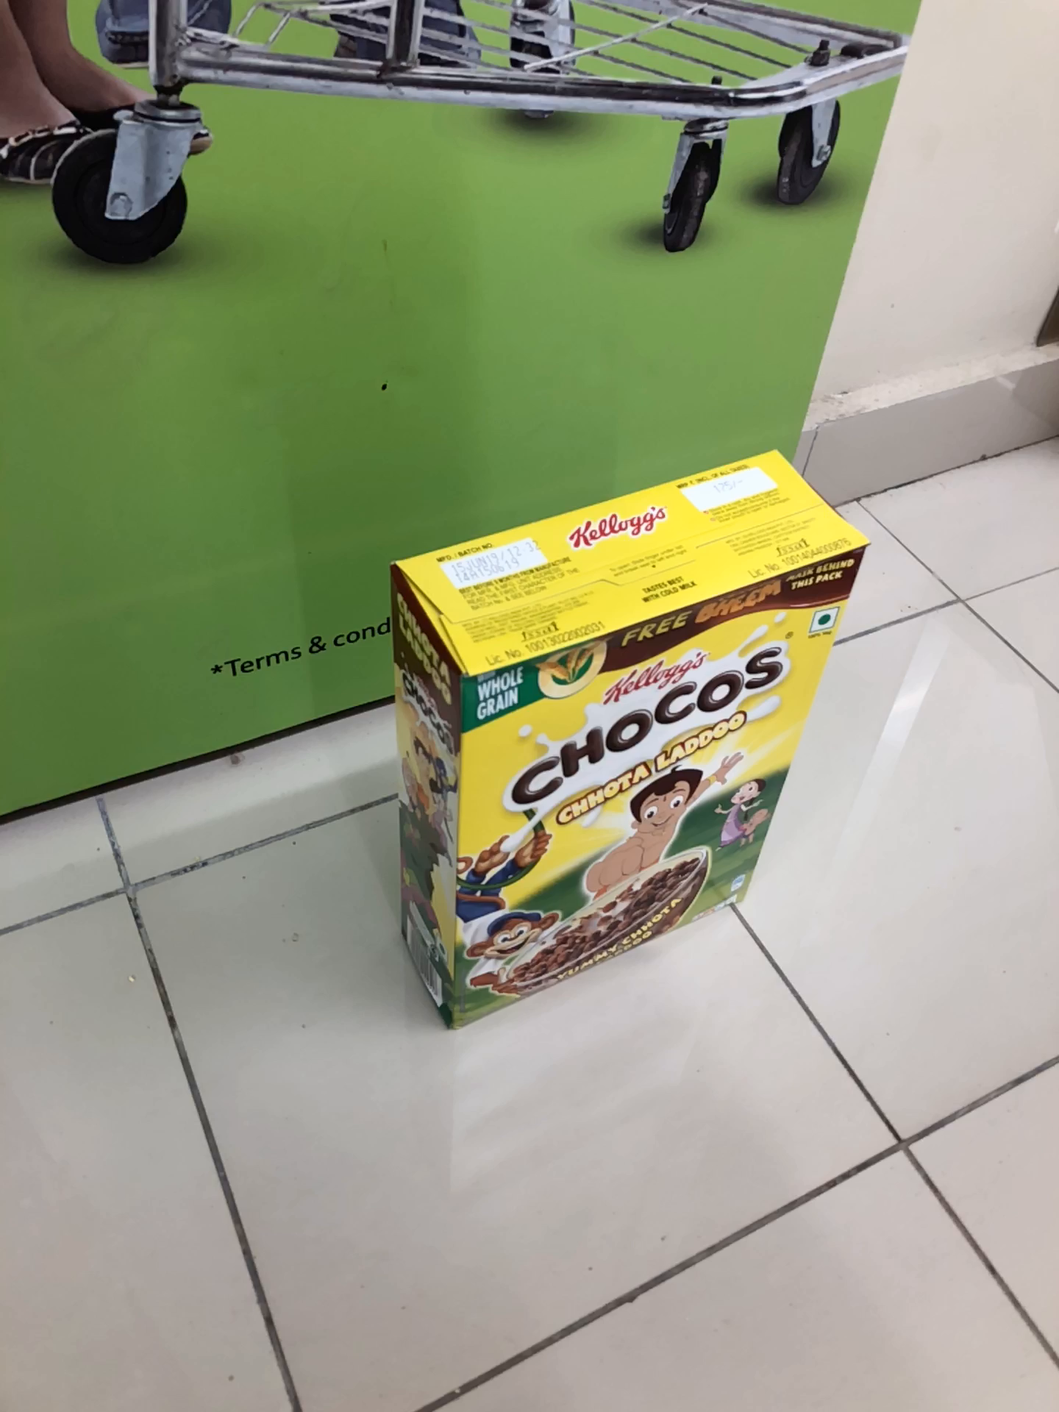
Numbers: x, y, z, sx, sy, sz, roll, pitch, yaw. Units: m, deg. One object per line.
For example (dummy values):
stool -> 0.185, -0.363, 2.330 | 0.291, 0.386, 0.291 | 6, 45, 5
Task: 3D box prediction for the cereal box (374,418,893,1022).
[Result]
cereal box -> 0.033, 0.016, 0.537 | 0.191, 0.258, 0.070 | -19, 52, -22
